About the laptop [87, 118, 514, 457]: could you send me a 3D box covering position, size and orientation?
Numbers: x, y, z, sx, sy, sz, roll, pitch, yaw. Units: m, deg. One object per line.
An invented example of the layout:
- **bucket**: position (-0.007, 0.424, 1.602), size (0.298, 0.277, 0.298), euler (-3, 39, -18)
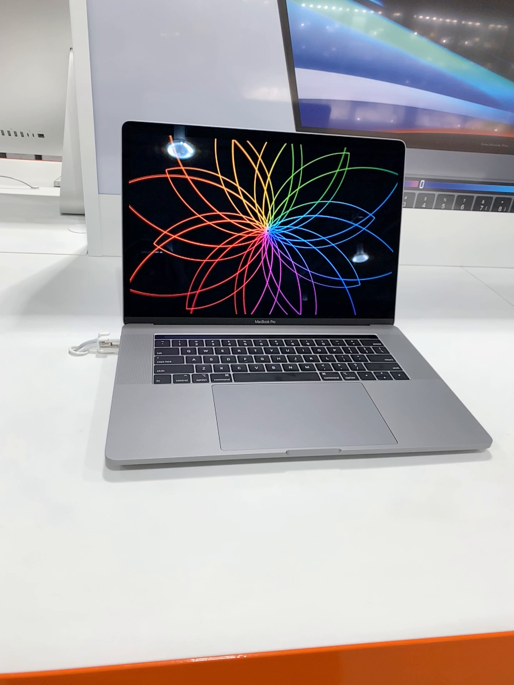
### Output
- **laptop**: position (0.030, -0.075, 0.515), size (0.330, 0.205, 0.304), euler (0, 29, -11)
